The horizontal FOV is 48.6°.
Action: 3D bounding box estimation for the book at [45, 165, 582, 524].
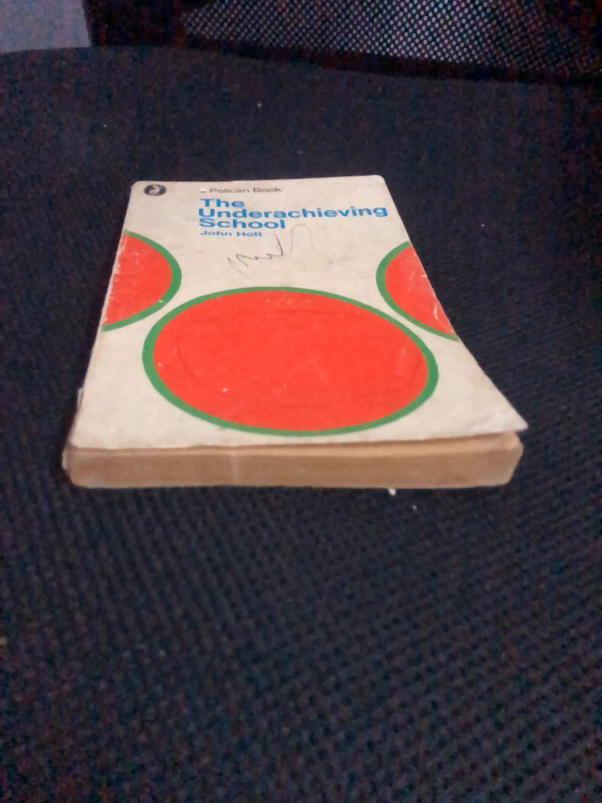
[{"bbox_3d":[-0.005,-0.038,0.225,0.120,0.020,0.182,-1,38,-7],"label":"book"}]
